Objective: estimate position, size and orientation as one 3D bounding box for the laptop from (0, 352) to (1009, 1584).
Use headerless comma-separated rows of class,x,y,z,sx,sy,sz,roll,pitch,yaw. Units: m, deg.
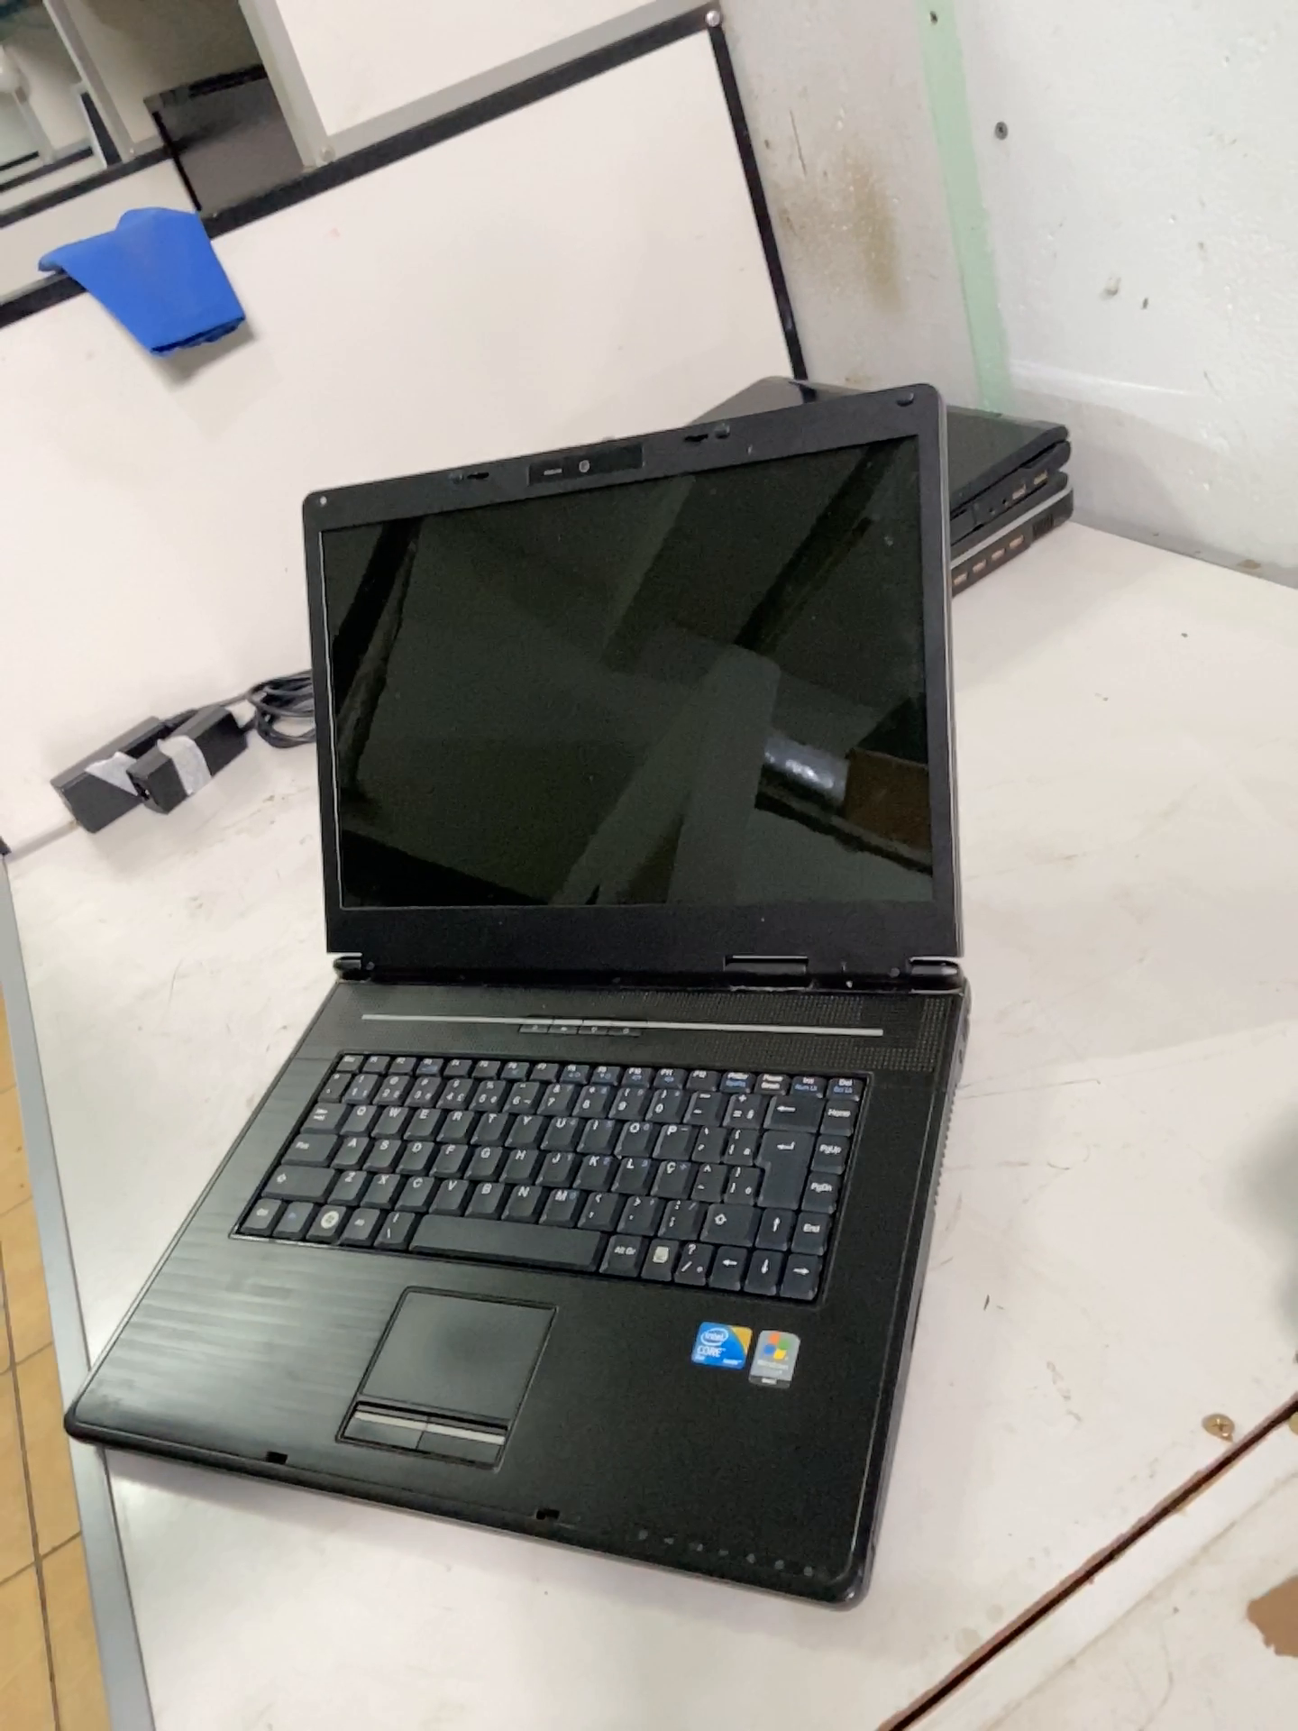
laptop,-0.061,0.006,0.592,0.351,0.224,0.431,-2,42,26
